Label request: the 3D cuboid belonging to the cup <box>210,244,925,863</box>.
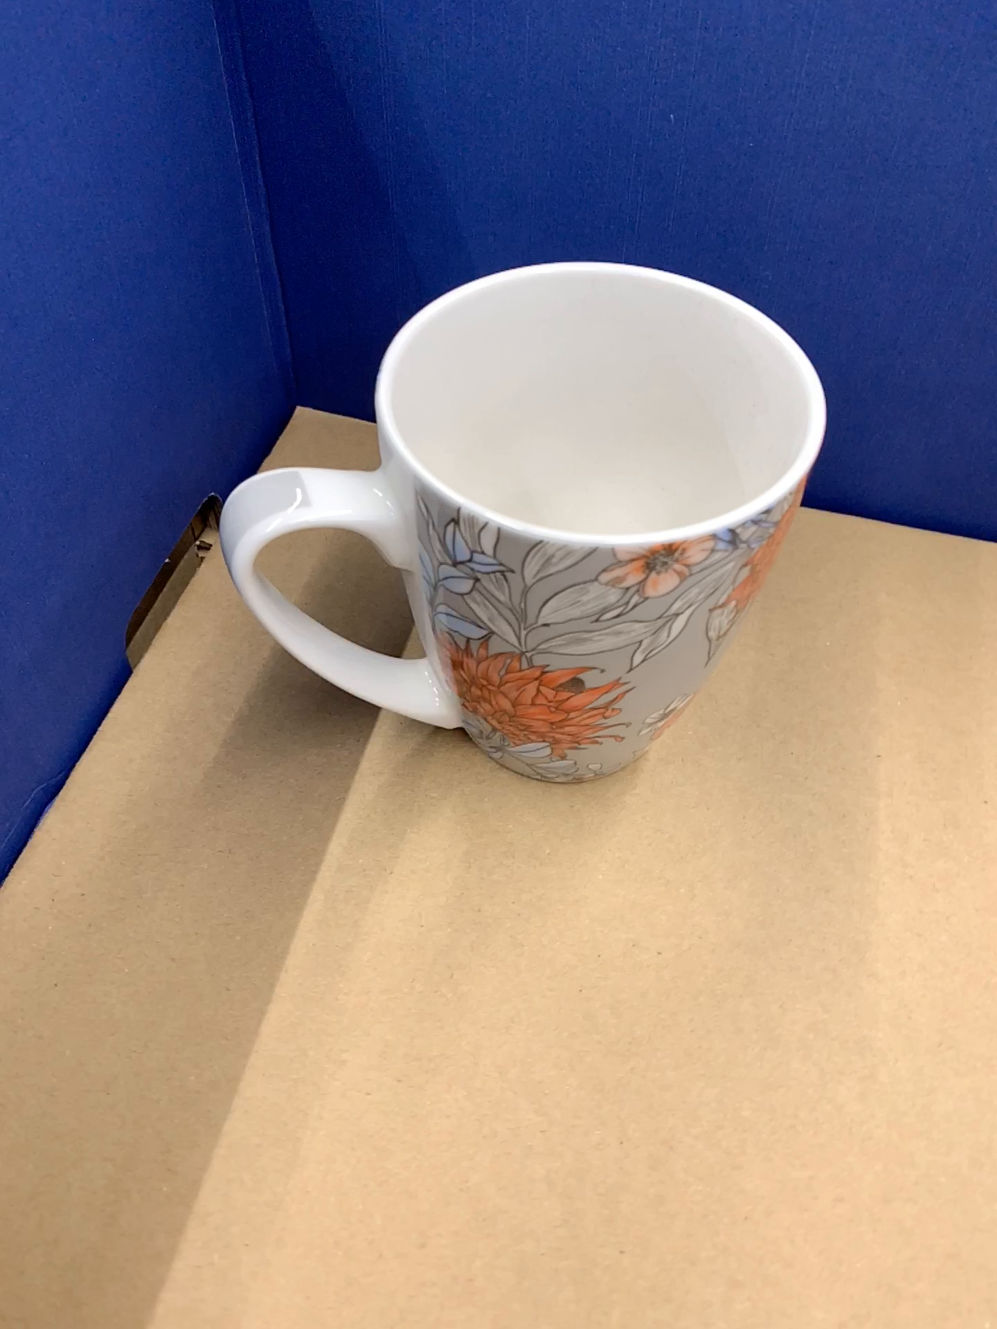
[{"bbox_3d":[0.006,-0.026,0.228,0.117,0.085,0.092,-6,50,-7],"label":"cup"}]
